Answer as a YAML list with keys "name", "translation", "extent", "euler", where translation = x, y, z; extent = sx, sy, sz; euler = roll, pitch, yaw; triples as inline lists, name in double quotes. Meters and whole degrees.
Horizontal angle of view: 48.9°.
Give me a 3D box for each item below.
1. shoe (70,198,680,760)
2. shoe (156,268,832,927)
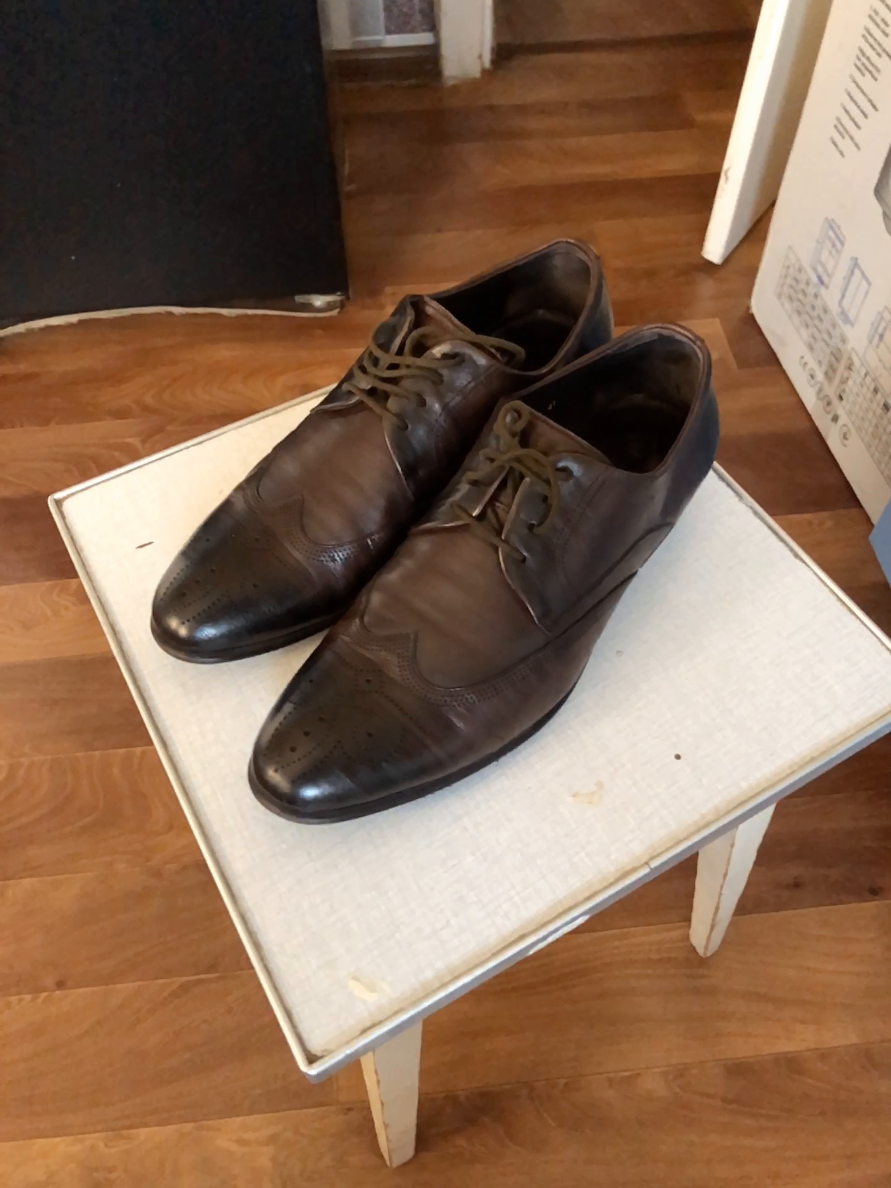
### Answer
- name: "shoe"
  translation: [-0.019, -0.068, 0.486]
  extent: [0.100, 0.099, 0.291]
  euler: [37, 63, 23]
- name: "shoe"
  translation: [0.033, -0.012, 0.429]
  extent: [0.100, 0.099, 0.291]
  euler: [37, 63, 23]
